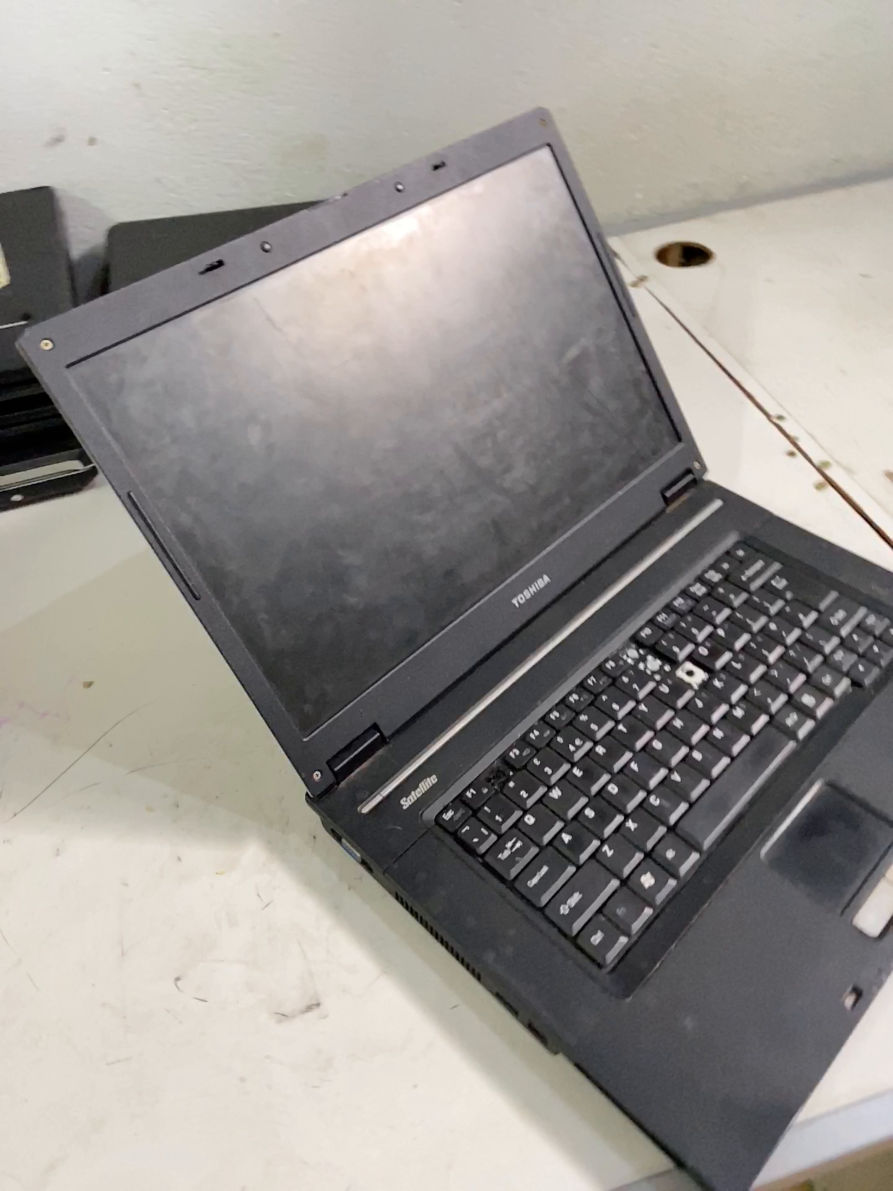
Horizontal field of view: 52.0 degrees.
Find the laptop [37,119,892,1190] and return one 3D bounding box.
[{"bbox_3d":[0.089,-0.033,0.463,0.357,0.212,0.403,-37,54,-27],"label":"laptop"}]
